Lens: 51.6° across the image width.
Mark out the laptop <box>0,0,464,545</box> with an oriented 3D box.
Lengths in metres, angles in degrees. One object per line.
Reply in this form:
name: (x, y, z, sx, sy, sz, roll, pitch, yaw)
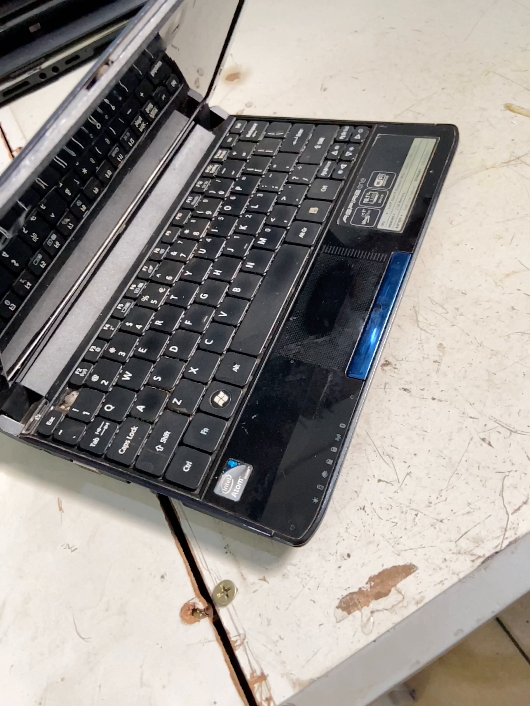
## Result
laptop: (-0.032, -0.083, 0.238, 0.171, 0.131, 0.244, 13, 62, 23)
